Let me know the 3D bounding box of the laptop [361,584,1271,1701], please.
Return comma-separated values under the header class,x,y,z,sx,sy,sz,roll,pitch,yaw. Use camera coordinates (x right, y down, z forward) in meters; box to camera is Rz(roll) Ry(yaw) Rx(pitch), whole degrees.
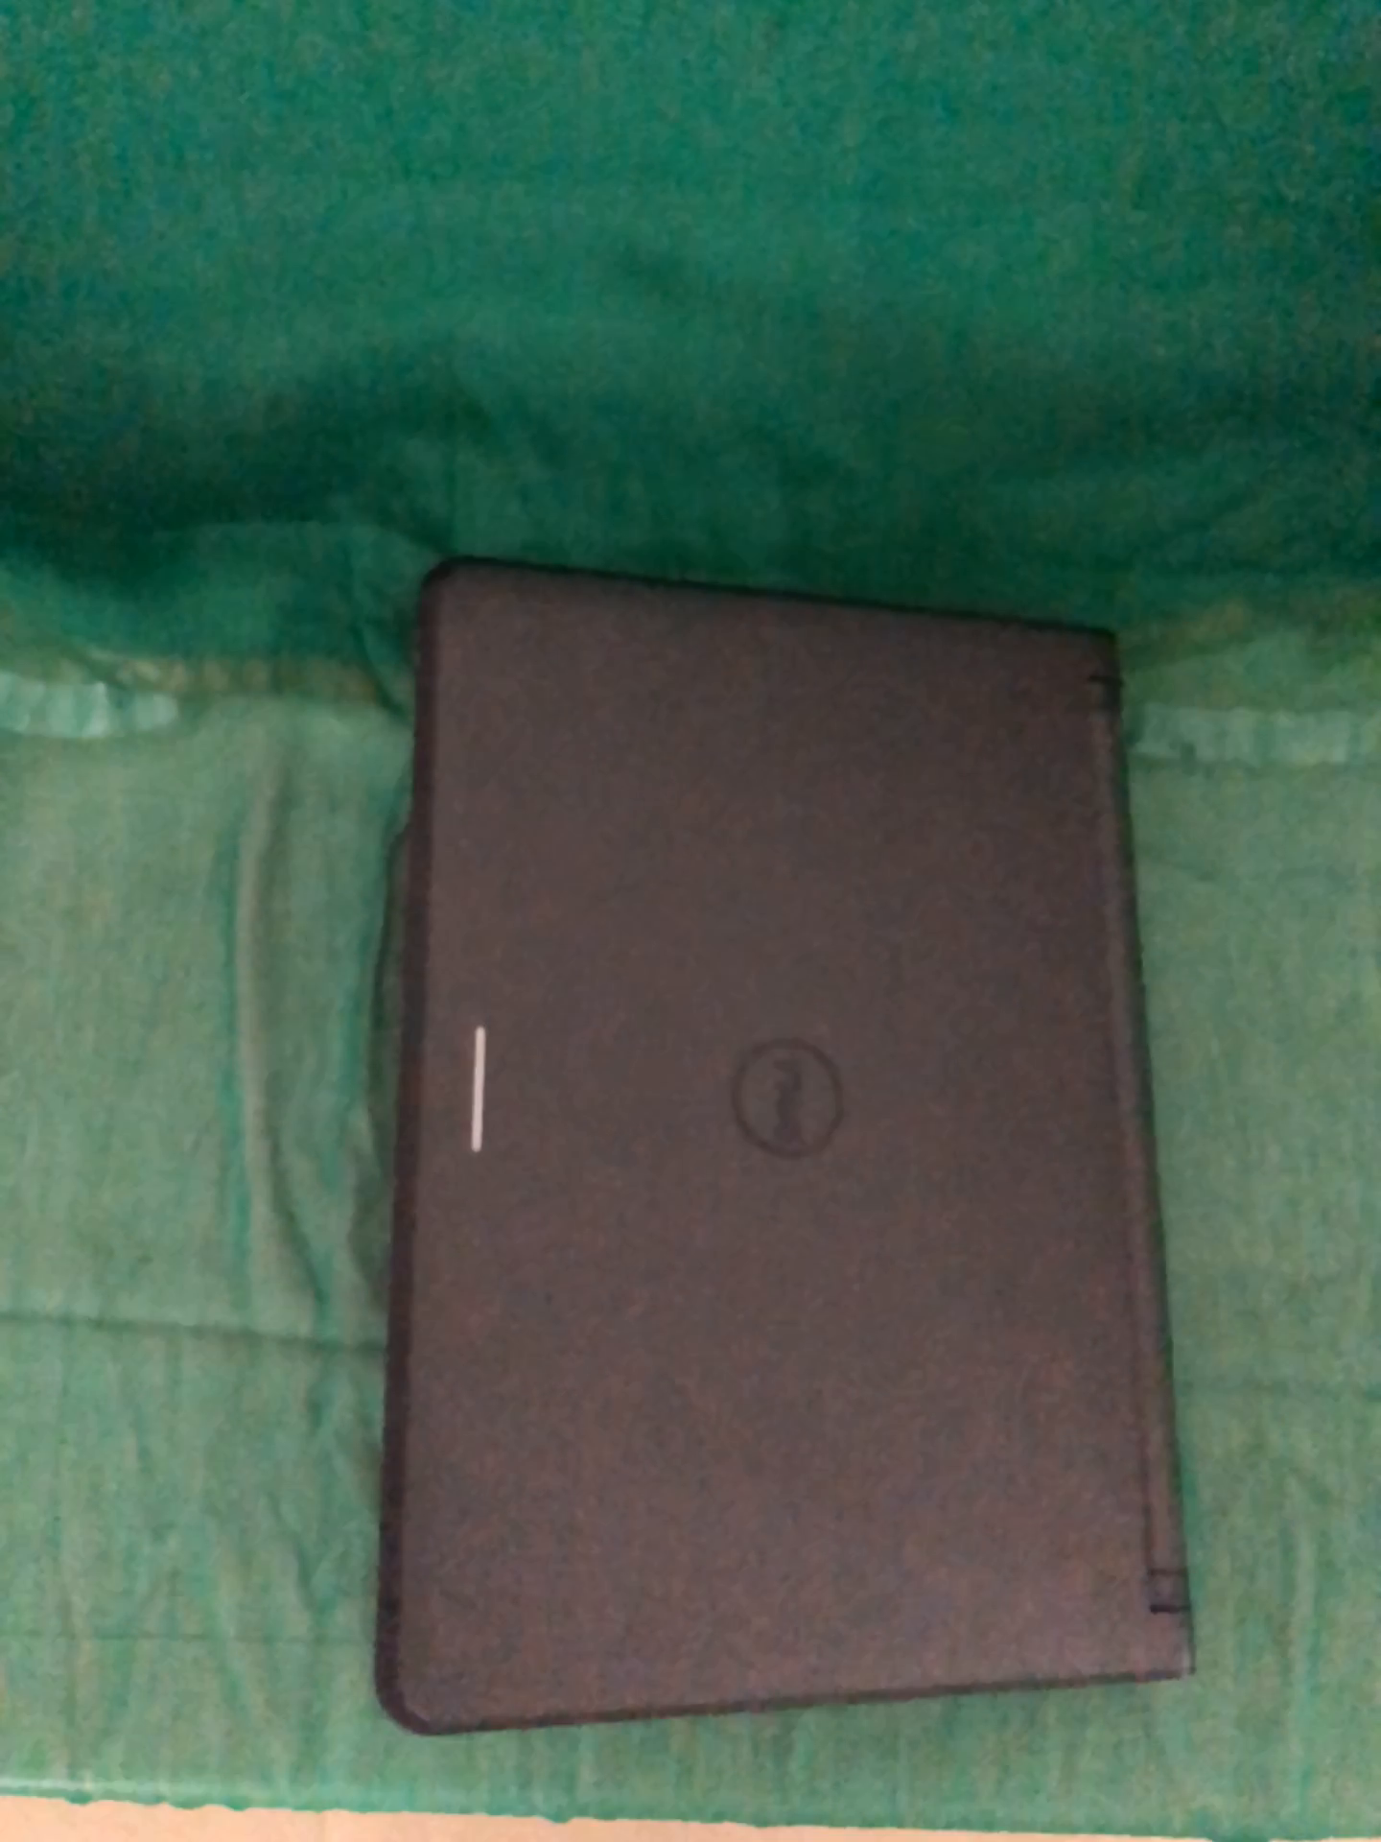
class,x,y,z,sx,sy,sz,roll,pitch,yaw
laptop,0.030,0.054,0.457,0.229,0.065,0.306,0,75,-1
